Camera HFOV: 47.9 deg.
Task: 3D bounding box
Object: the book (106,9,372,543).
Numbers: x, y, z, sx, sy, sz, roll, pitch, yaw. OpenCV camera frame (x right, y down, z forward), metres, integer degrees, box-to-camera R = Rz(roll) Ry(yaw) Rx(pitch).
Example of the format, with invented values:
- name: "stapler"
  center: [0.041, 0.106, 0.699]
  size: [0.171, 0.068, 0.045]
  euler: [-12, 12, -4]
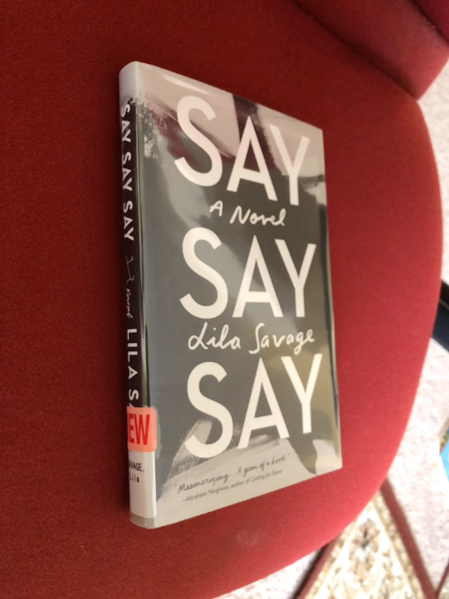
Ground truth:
- name: "book"
  center: [0.017, -0.008, 0.264]
  size: [0.151, 0.040, 0.210]
  euler: [1, 90, -42]
